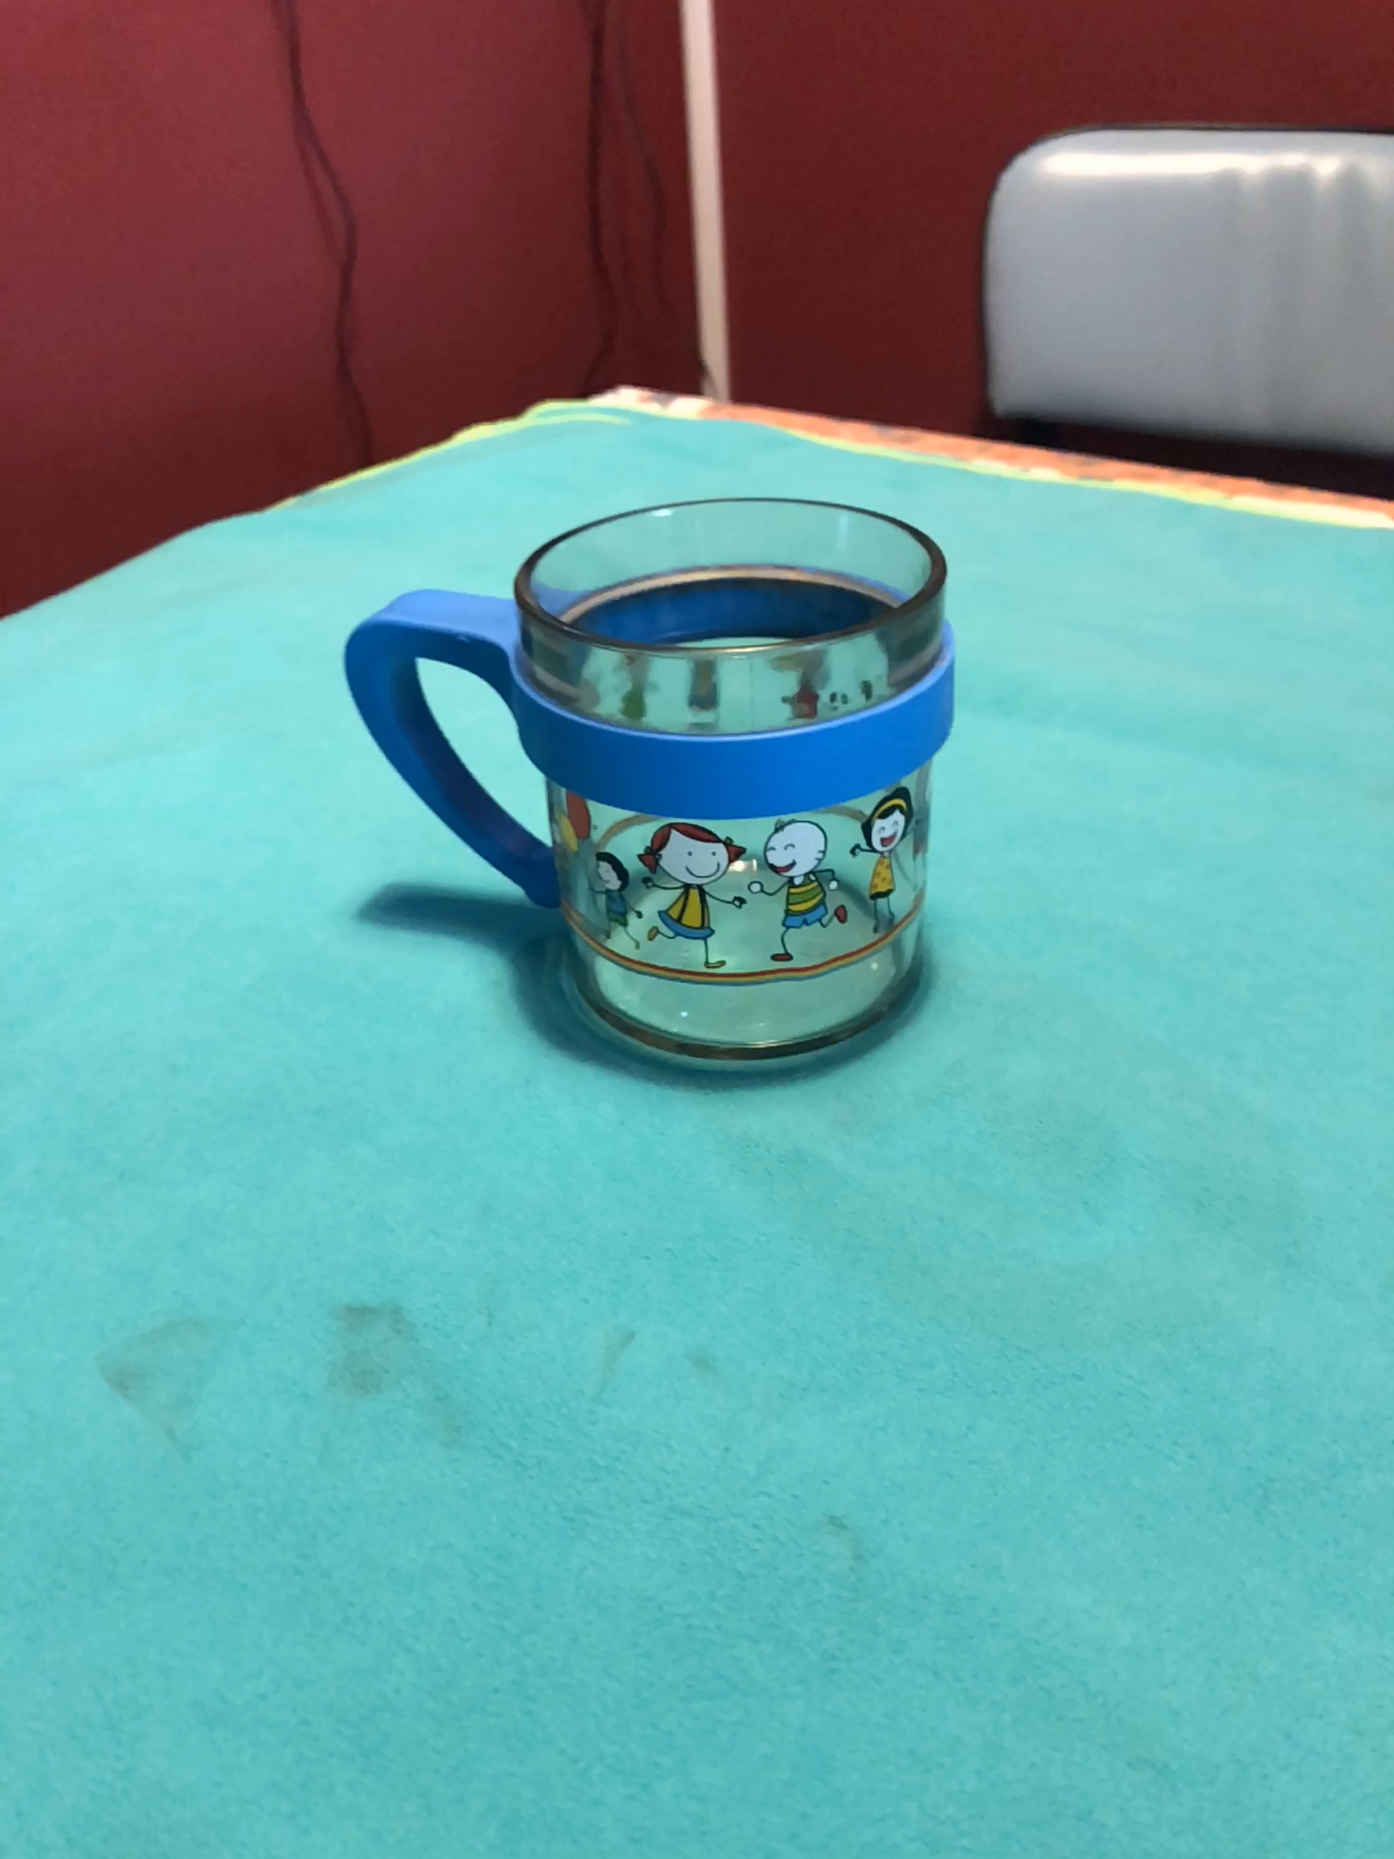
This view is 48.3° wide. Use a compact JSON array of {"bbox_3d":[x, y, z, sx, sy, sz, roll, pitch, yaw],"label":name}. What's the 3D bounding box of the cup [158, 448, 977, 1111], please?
[{"bbox_3d":[-0.019,-0.038,0.320,0.130,0.089,0.091,10,35,20],"label":"cup"}]
